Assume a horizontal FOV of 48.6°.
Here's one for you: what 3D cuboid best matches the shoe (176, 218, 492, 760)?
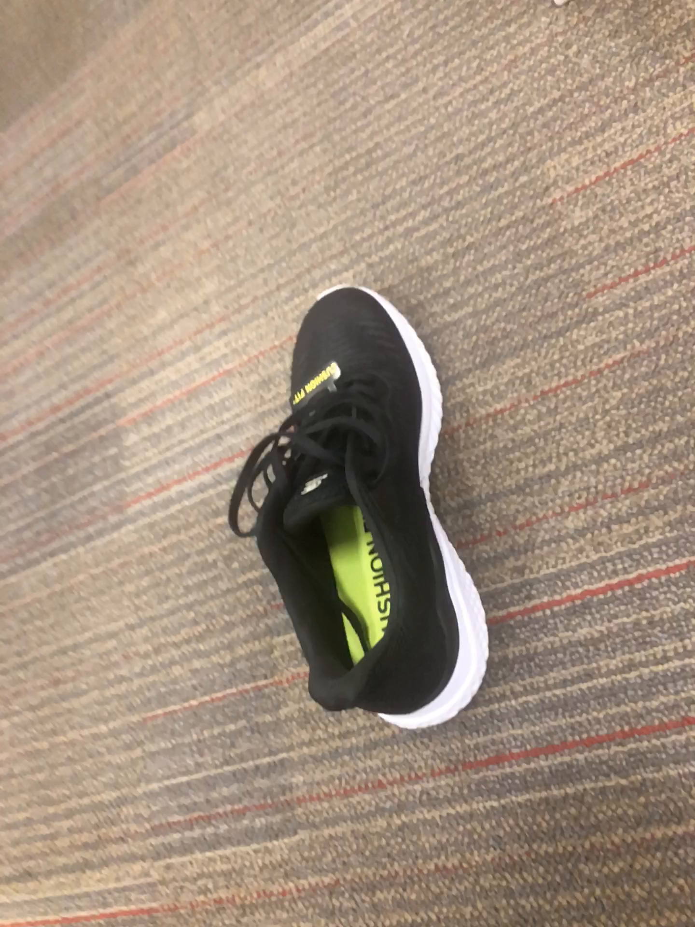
[{"bbox_3d":[-0.016,0.017,0.475,0.120,0.100,0.290,-20,66,26],"label":"shoe"}]
